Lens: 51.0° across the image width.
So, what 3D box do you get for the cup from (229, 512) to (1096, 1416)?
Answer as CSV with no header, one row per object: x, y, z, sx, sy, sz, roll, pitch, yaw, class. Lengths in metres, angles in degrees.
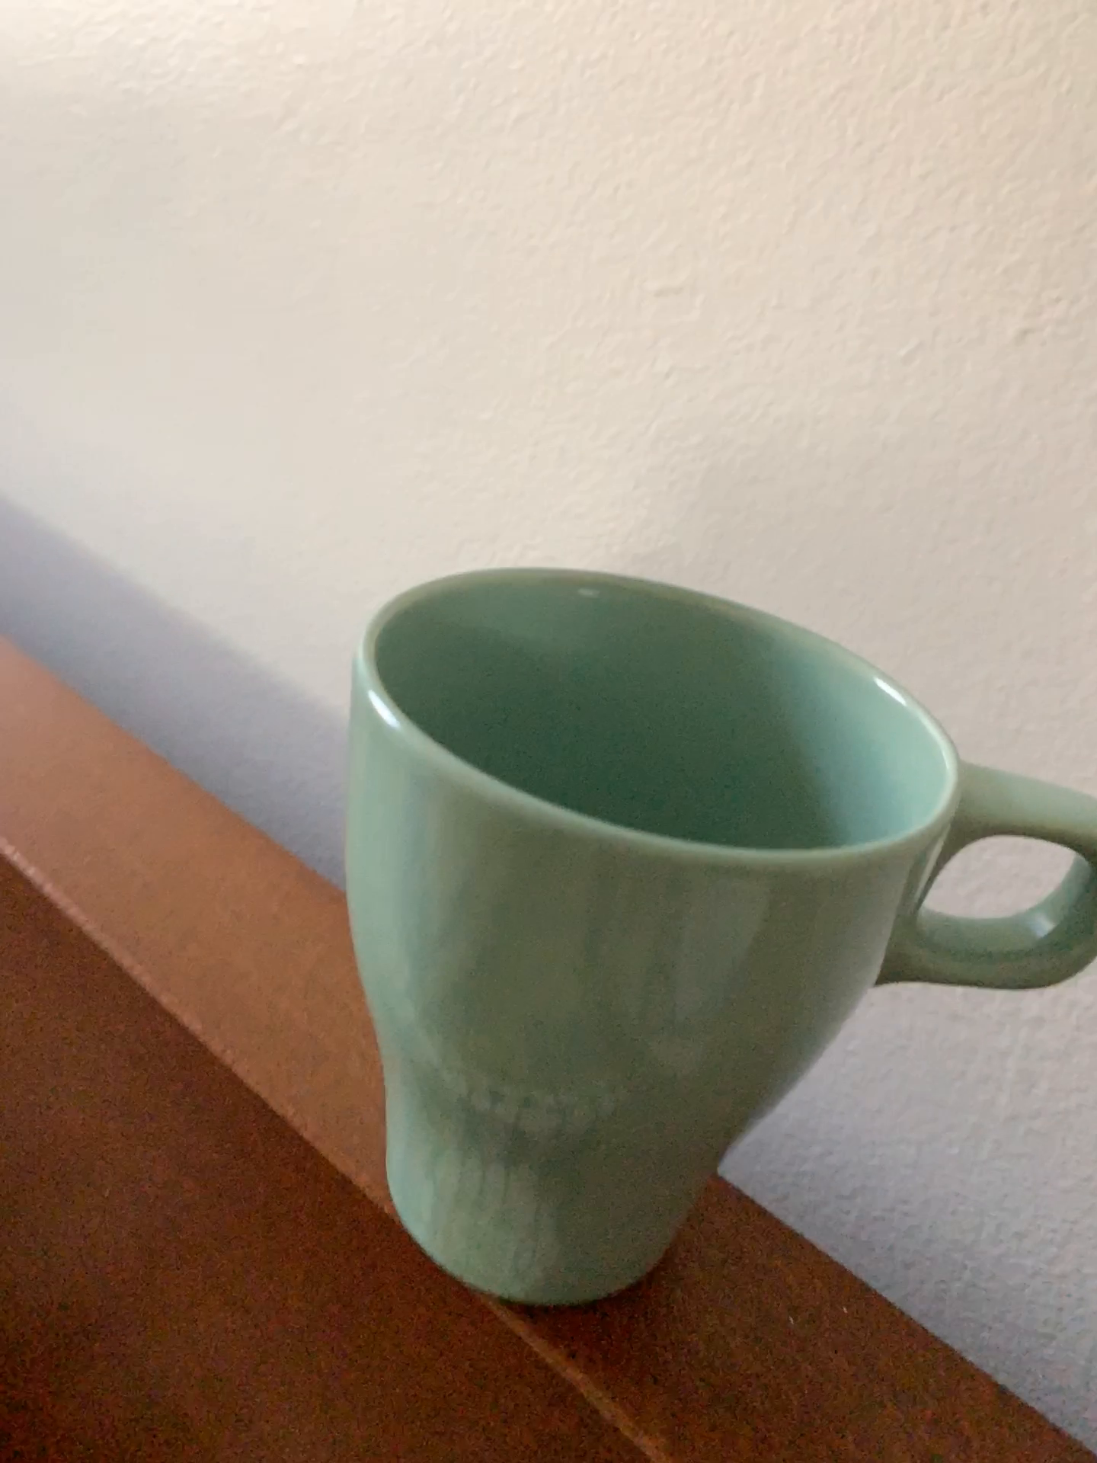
0.024,0.034,0.185,0.123,0.091,0.082,11,30,-4,cup
